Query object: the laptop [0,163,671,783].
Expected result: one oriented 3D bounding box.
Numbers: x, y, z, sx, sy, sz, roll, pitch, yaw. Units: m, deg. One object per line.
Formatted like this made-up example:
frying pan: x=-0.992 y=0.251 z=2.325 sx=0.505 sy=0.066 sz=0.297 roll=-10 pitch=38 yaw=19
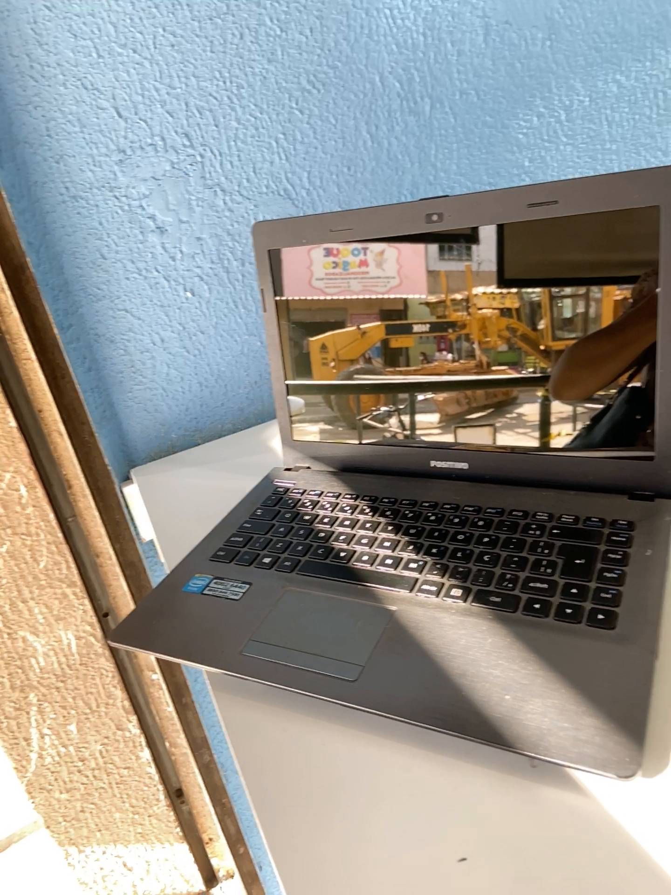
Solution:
laptop: x=0.028 y=-0.024 z=0.454 sx=0.334 sy=0.212 sz=0.284 roll=3 pitch=29 yaw=30
